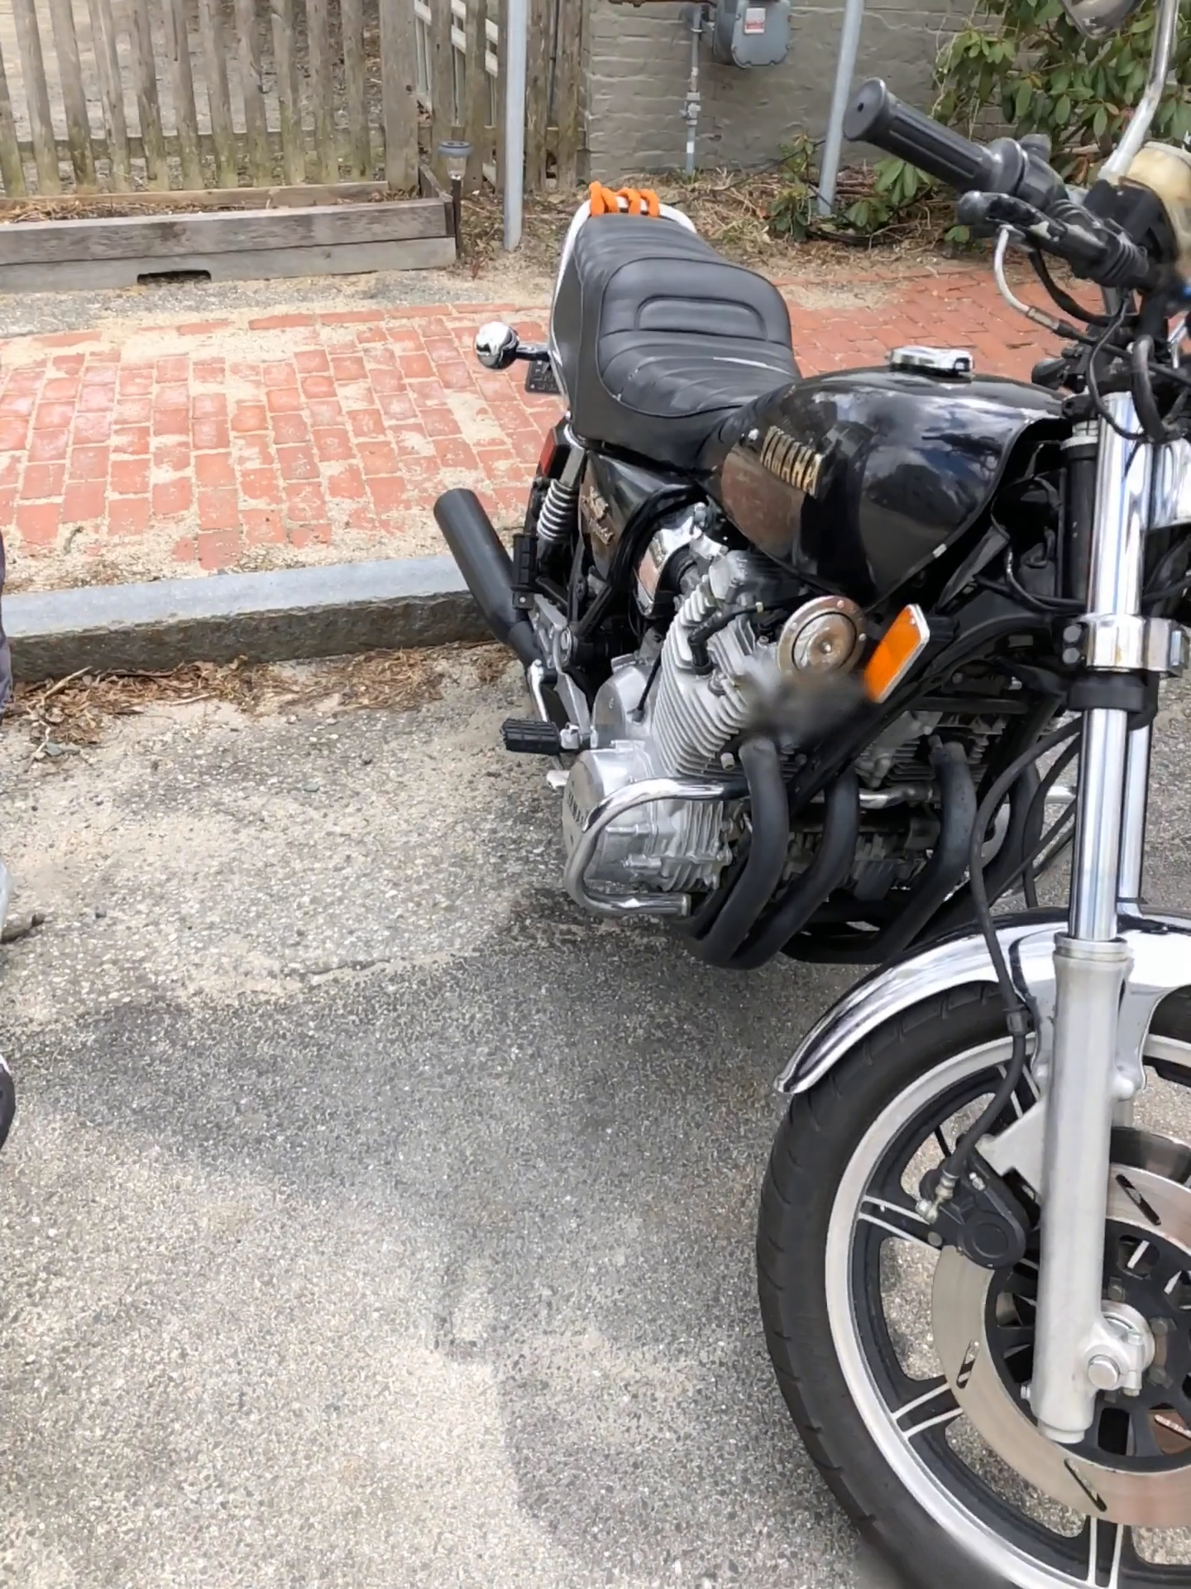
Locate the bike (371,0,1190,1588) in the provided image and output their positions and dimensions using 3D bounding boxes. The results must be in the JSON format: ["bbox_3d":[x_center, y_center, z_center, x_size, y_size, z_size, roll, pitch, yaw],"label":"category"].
[{"bbox_3d":[0.355,-0.182,1.547,0.710,1.157,1.977,-10,39,-20],"label":"bike"}]
